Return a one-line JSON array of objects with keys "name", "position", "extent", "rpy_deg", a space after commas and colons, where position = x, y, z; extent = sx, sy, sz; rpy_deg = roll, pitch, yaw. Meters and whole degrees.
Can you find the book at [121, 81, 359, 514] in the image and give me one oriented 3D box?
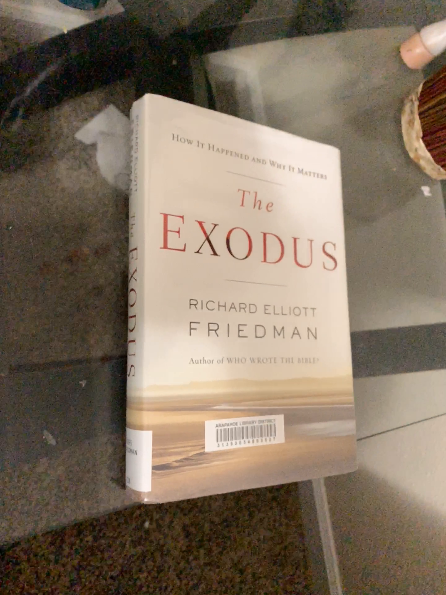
[{"name": "book", "position": [0.019, 0.001, 0.301], "extent": [0.161, 0.030, 0.231], "rpy_deg": [4, 84, -32]}]
